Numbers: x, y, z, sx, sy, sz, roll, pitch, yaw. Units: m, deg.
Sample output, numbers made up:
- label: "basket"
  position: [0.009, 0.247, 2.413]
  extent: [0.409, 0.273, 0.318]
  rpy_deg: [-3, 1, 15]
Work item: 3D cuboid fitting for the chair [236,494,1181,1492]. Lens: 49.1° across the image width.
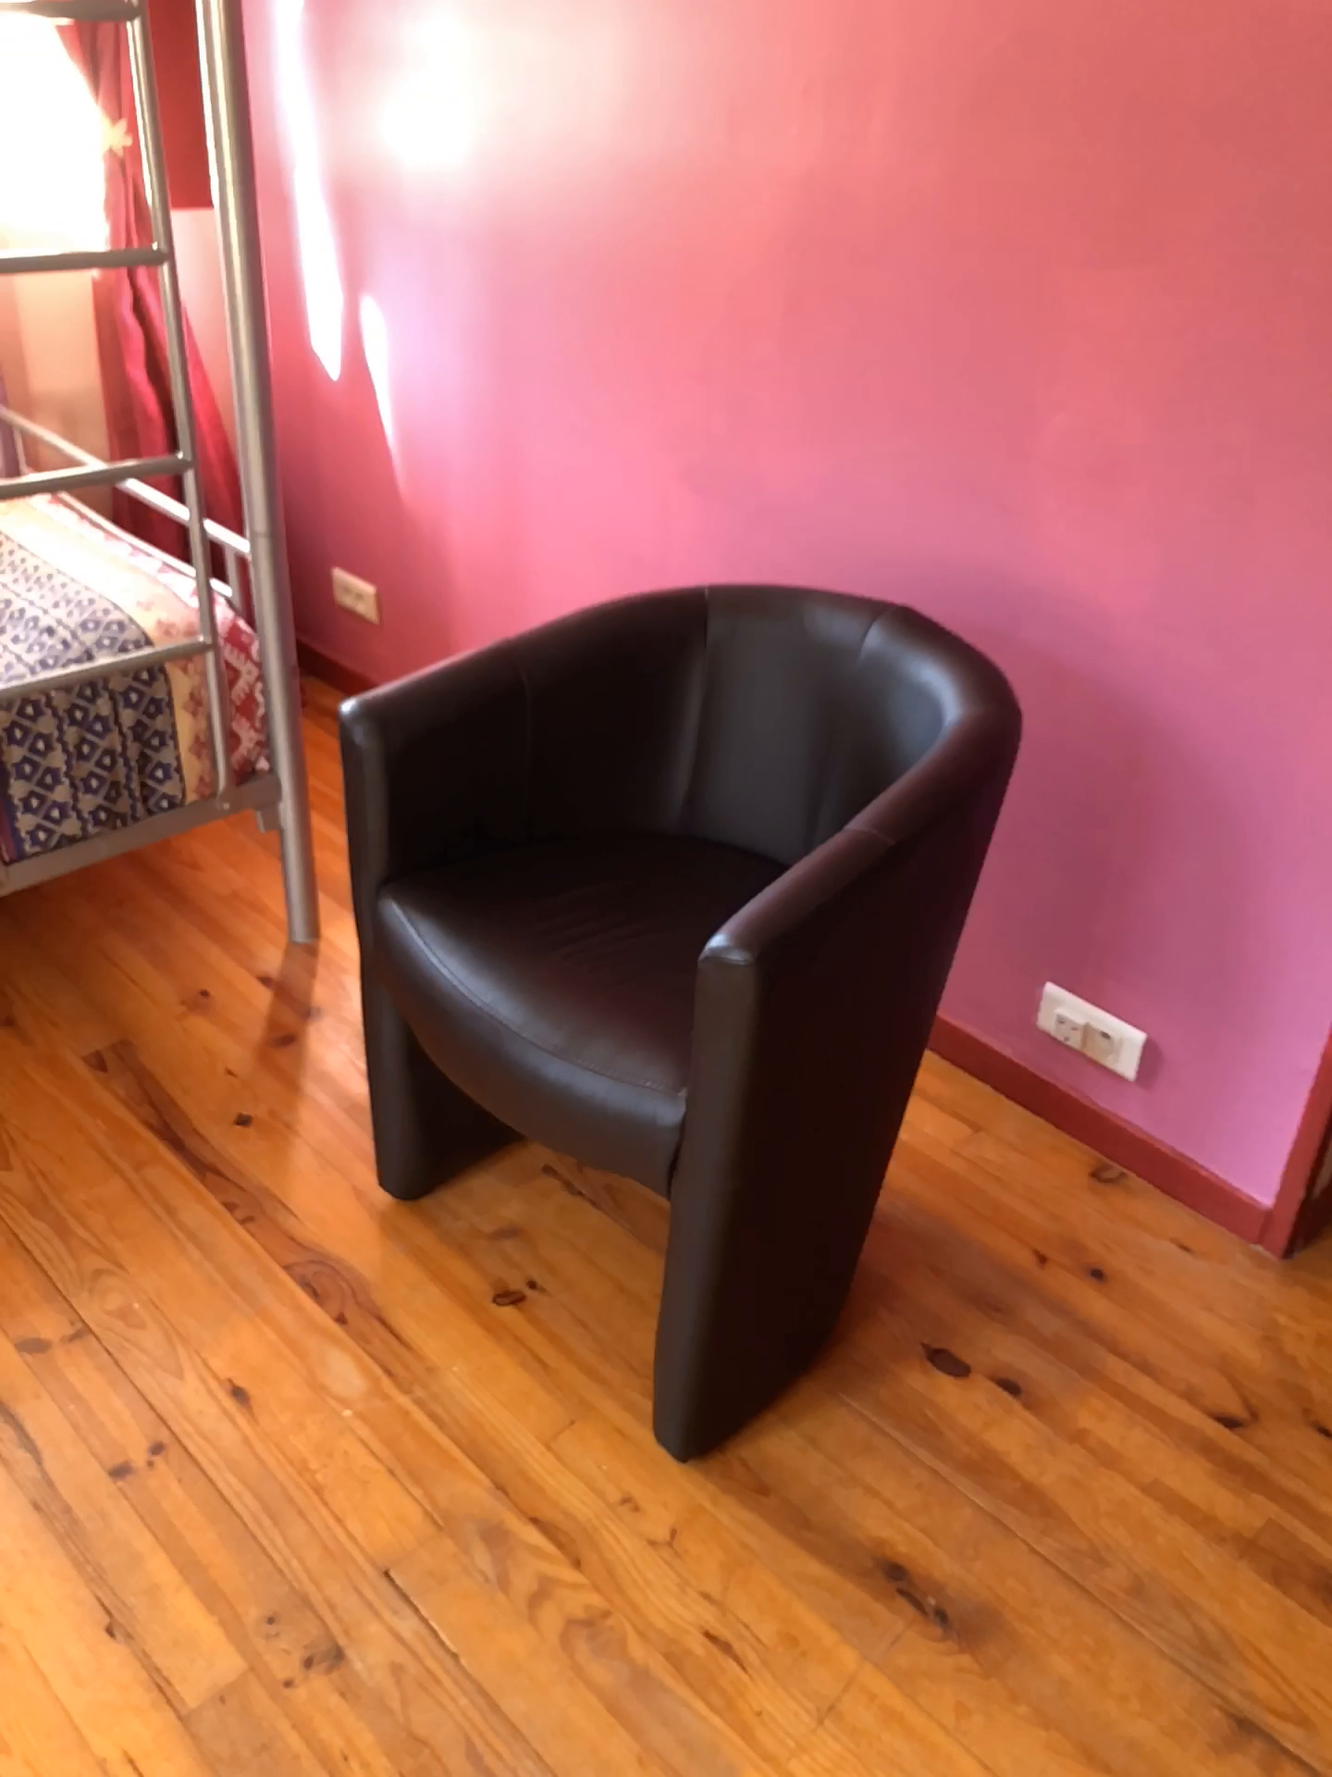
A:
- label: "chair"
  position: [0.022, 0.037, 1.540]
  extent: [0.593, 0.646, 0.671]
  rpy_deg: [-26, 41, -38]
